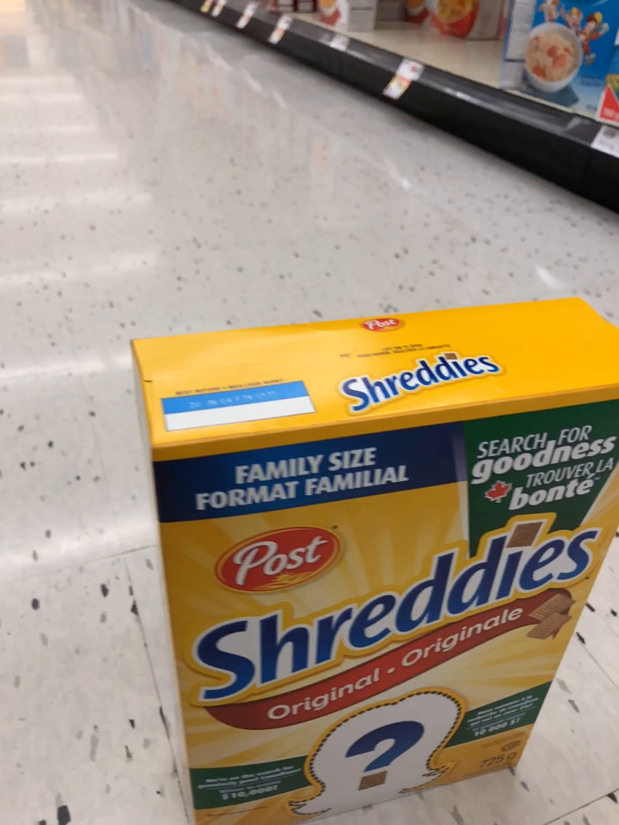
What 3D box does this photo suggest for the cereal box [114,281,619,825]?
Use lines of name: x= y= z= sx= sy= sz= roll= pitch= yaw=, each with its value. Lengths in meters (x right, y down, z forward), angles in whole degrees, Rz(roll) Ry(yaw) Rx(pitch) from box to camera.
cereal box: x=0.028 y=0.100 z=0.360 sx=0.210 sy=0.318 sz=0.070 roll=-8 pitch=40 yaw=-15
